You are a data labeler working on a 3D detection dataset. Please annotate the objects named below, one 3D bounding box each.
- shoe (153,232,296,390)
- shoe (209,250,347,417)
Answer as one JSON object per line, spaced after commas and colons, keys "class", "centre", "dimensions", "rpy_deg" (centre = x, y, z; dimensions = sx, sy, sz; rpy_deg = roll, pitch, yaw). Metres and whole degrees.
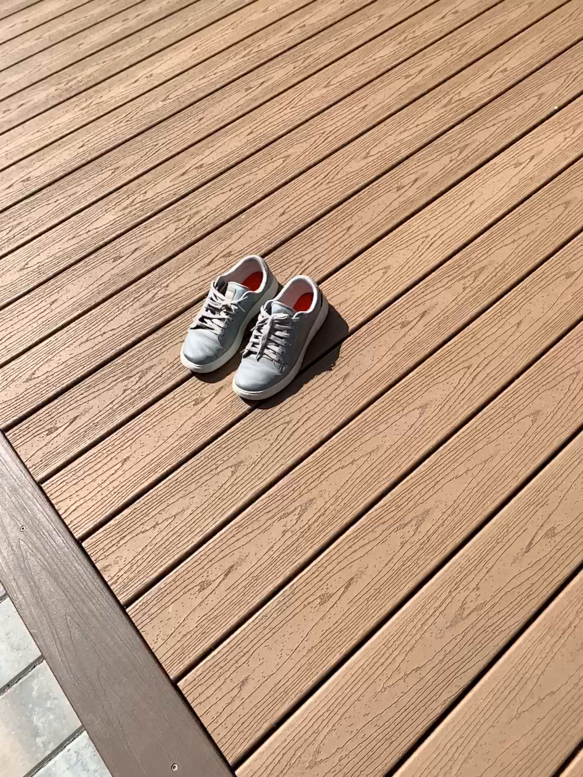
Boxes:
{"class": "shoe", "centre": [-0.118, -0.153, 1.136], "dimensions": [0.120, 0.100, 0.280], "rpy_deg": [25, 64, 19]}
{"class": "shoe", "centre": [-0.015, -0.108, 1.116], "dimensions": [0.120, 0.100, 0.290], "rpy_deg": [24, 64, 19]}
